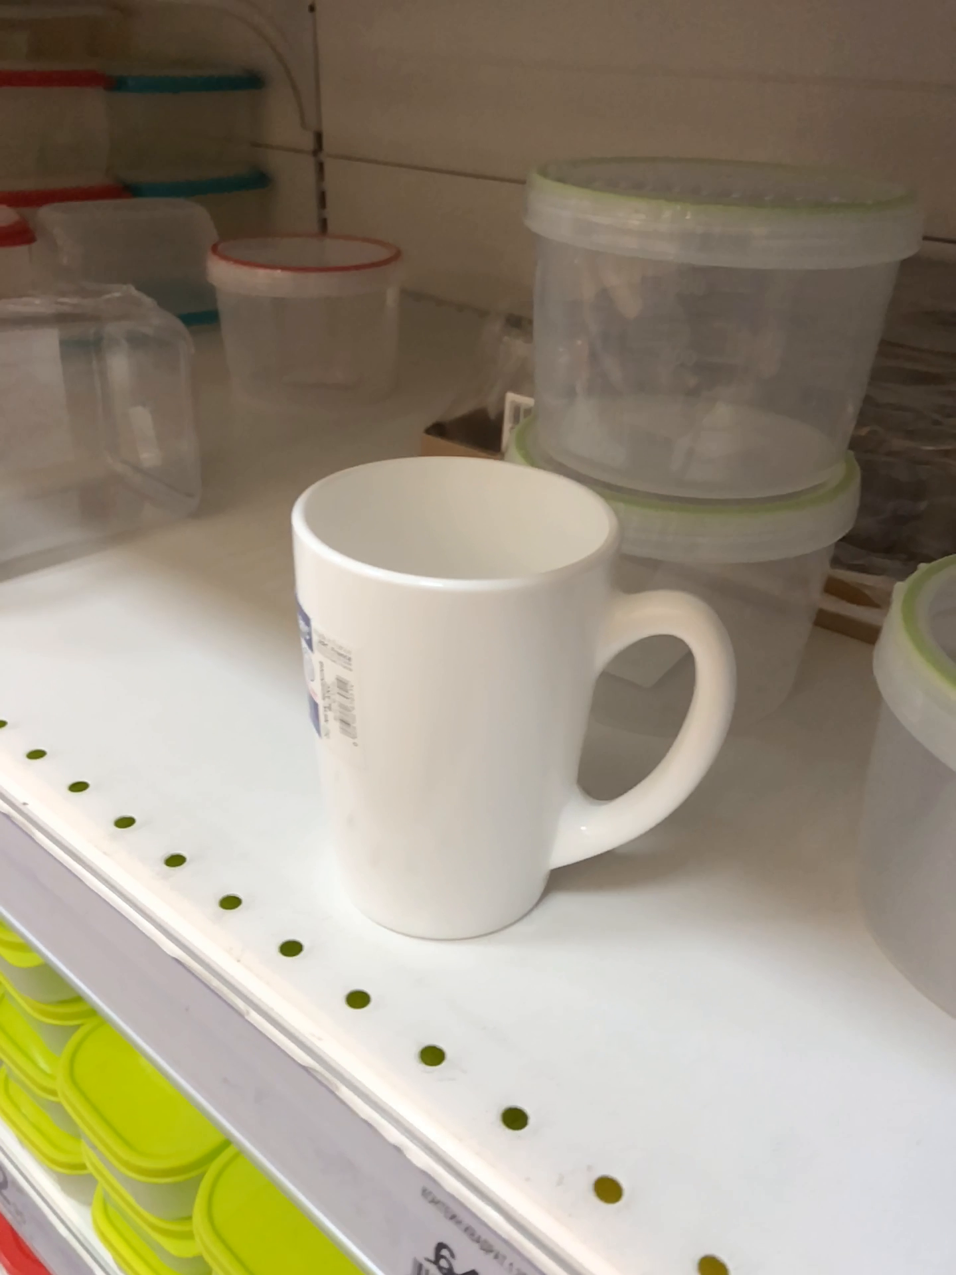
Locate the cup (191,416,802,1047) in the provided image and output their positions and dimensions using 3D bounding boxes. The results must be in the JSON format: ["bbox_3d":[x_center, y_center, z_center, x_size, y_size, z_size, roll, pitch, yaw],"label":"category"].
[{"bbox_3d":[0.005,0.016,0.275,0.120,0.107,0.079,17,34,24],"label":"cup"}]
